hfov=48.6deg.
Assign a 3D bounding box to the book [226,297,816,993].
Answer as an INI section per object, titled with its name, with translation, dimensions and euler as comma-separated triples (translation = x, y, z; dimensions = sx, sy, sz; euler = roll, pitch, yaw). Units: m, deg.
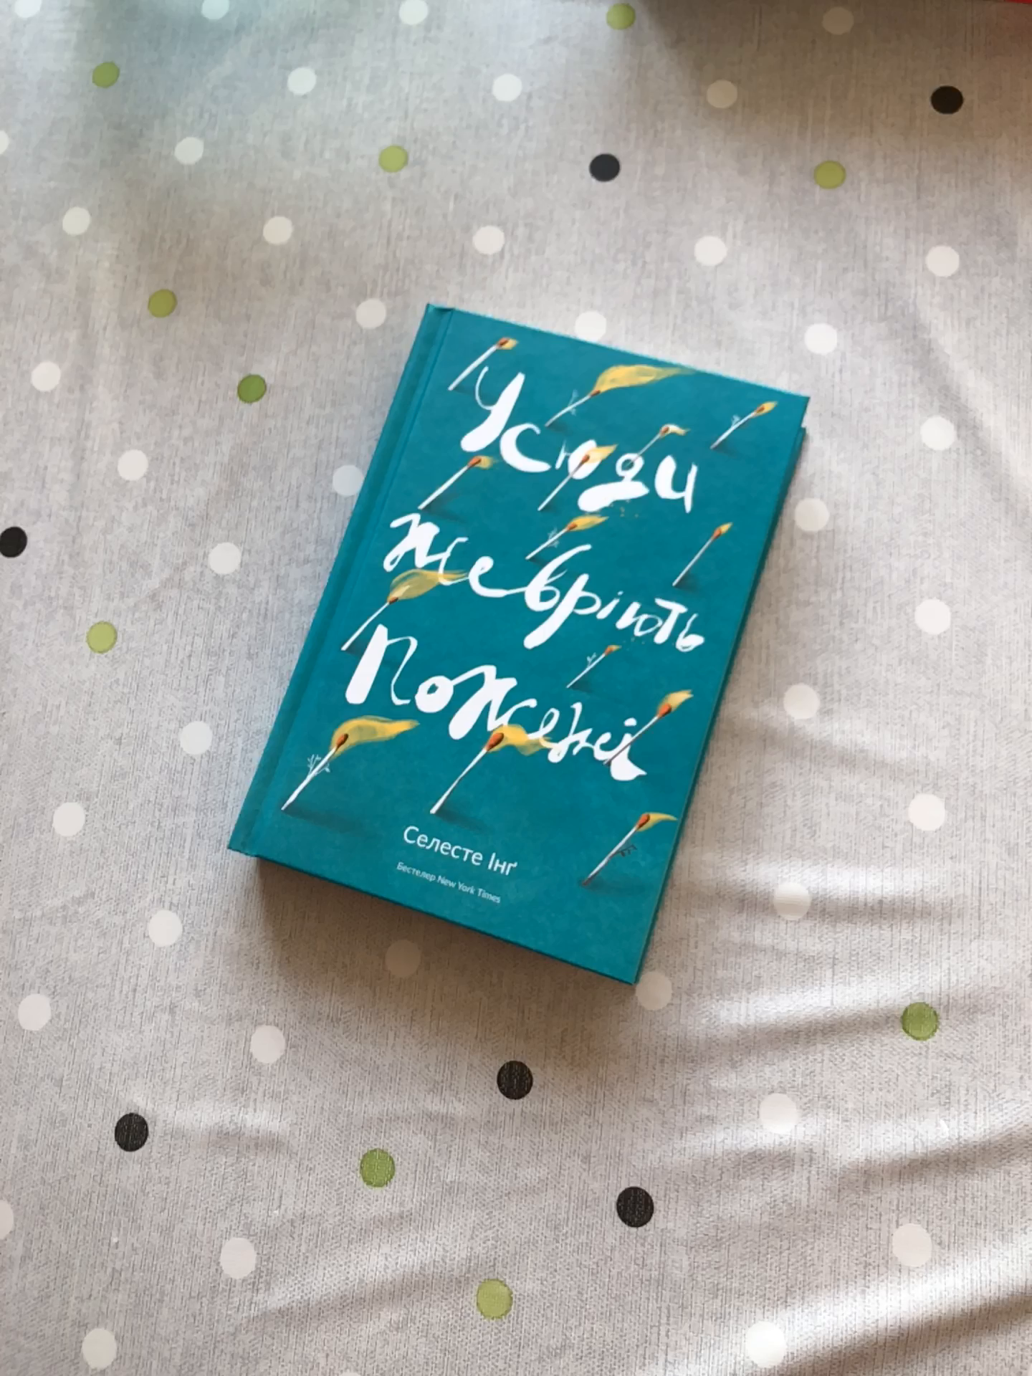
[book]
translation = 0.005, -0.020, 0.410
dimensions = 0.143, 0.040, 0.214
euler = 17, 80, 9
